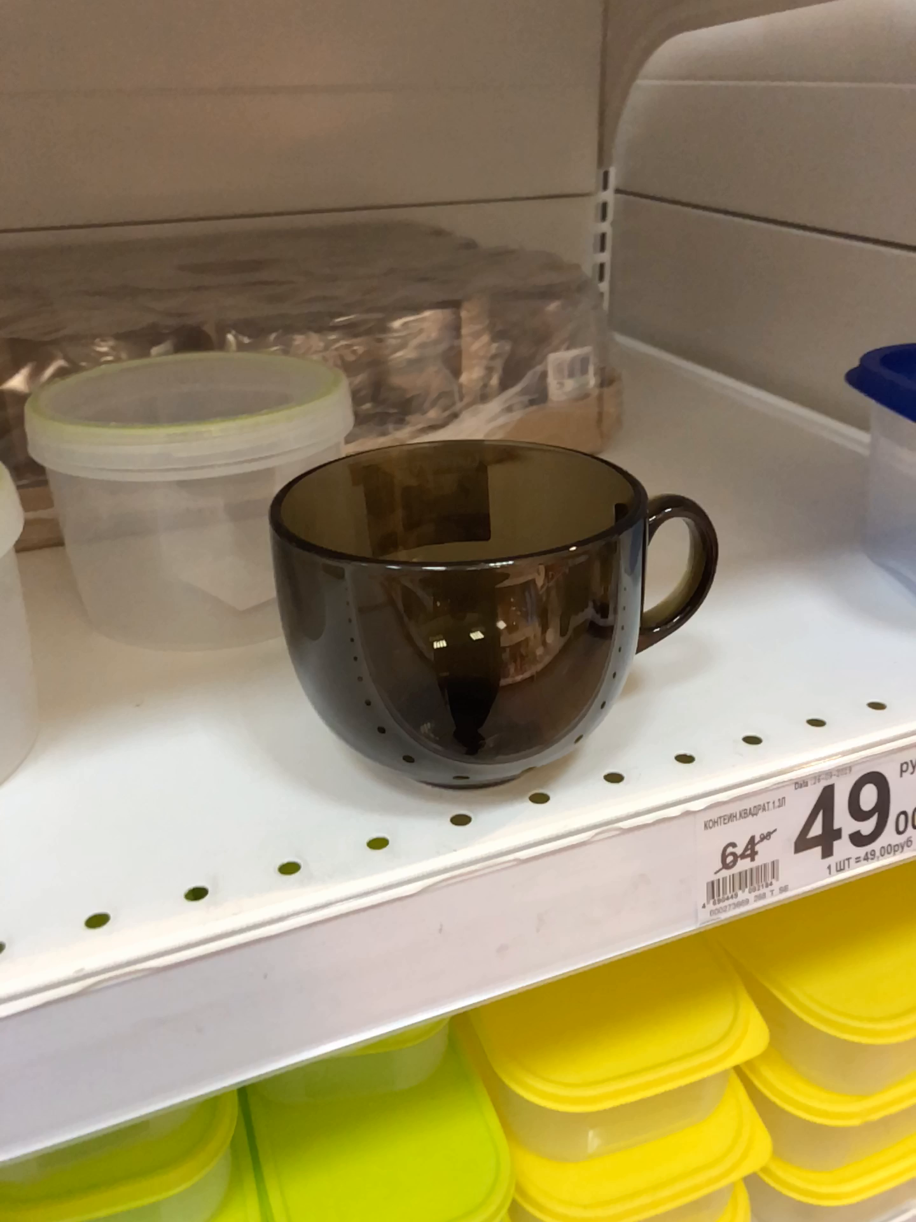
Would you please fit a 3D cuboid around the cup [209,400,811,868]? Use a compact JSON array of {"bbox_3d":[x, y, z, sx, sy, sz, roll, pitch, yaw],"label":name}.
[{"bbox_3d":[0.009,-0.005,0.298,0.135,0.071,0.106,-13,30,-20],"label":"cup"}]
